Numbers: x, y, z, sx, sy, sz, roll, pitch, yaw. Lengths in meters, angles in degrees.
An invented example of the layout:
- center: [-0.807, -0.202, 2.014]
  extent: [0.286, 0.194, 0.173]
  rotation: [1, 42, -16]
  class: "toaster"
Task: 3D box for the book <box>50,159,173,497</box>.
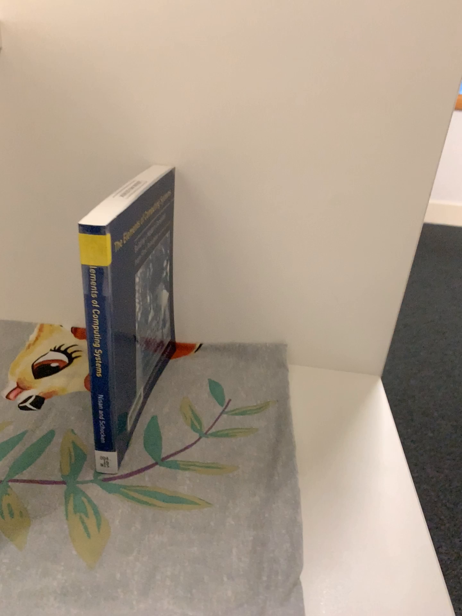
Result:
- center: [-0.096, 0.003, 0.452]
  extent: [0.030, 0.238, 0.222]
  rotation: [6, 27, 4]
  class: "book"
